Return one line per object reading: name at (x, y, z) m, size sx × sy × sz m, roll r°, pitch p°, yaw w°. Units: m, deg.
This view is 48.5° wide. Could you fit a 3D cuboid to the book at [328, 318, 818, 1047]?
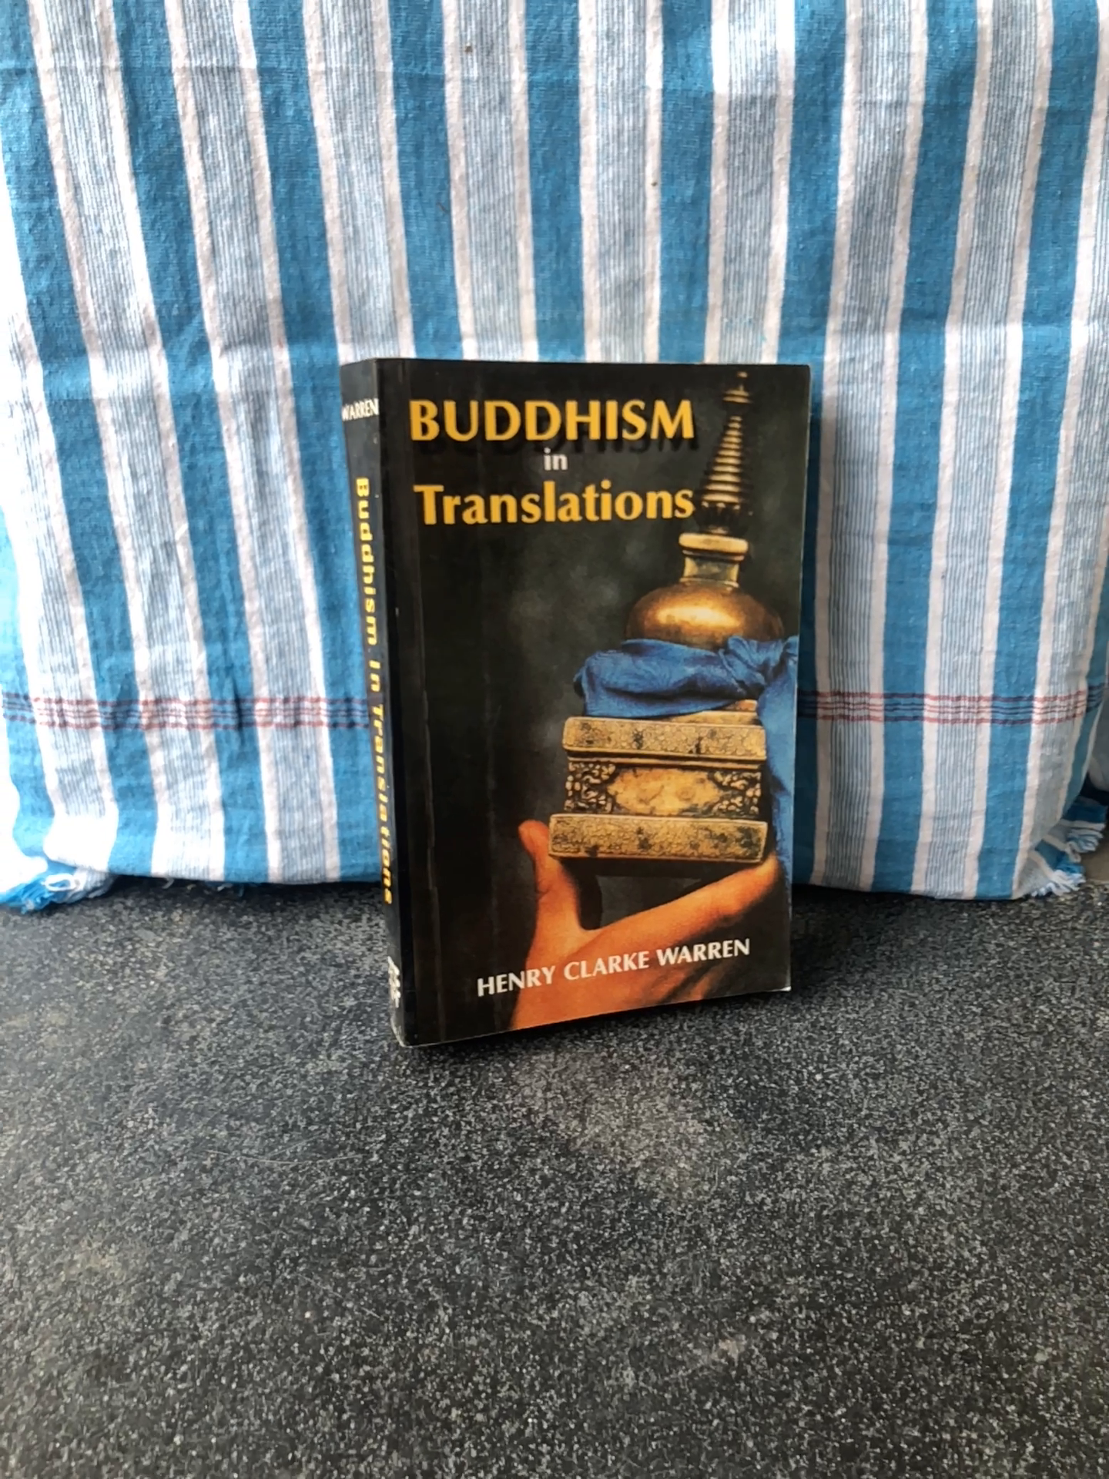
book at (0.007, -0.021, 0.399) m, size 0.140 × 0.210 × 0.050 m, roll -4°, pitch 5°, yaw -17°
